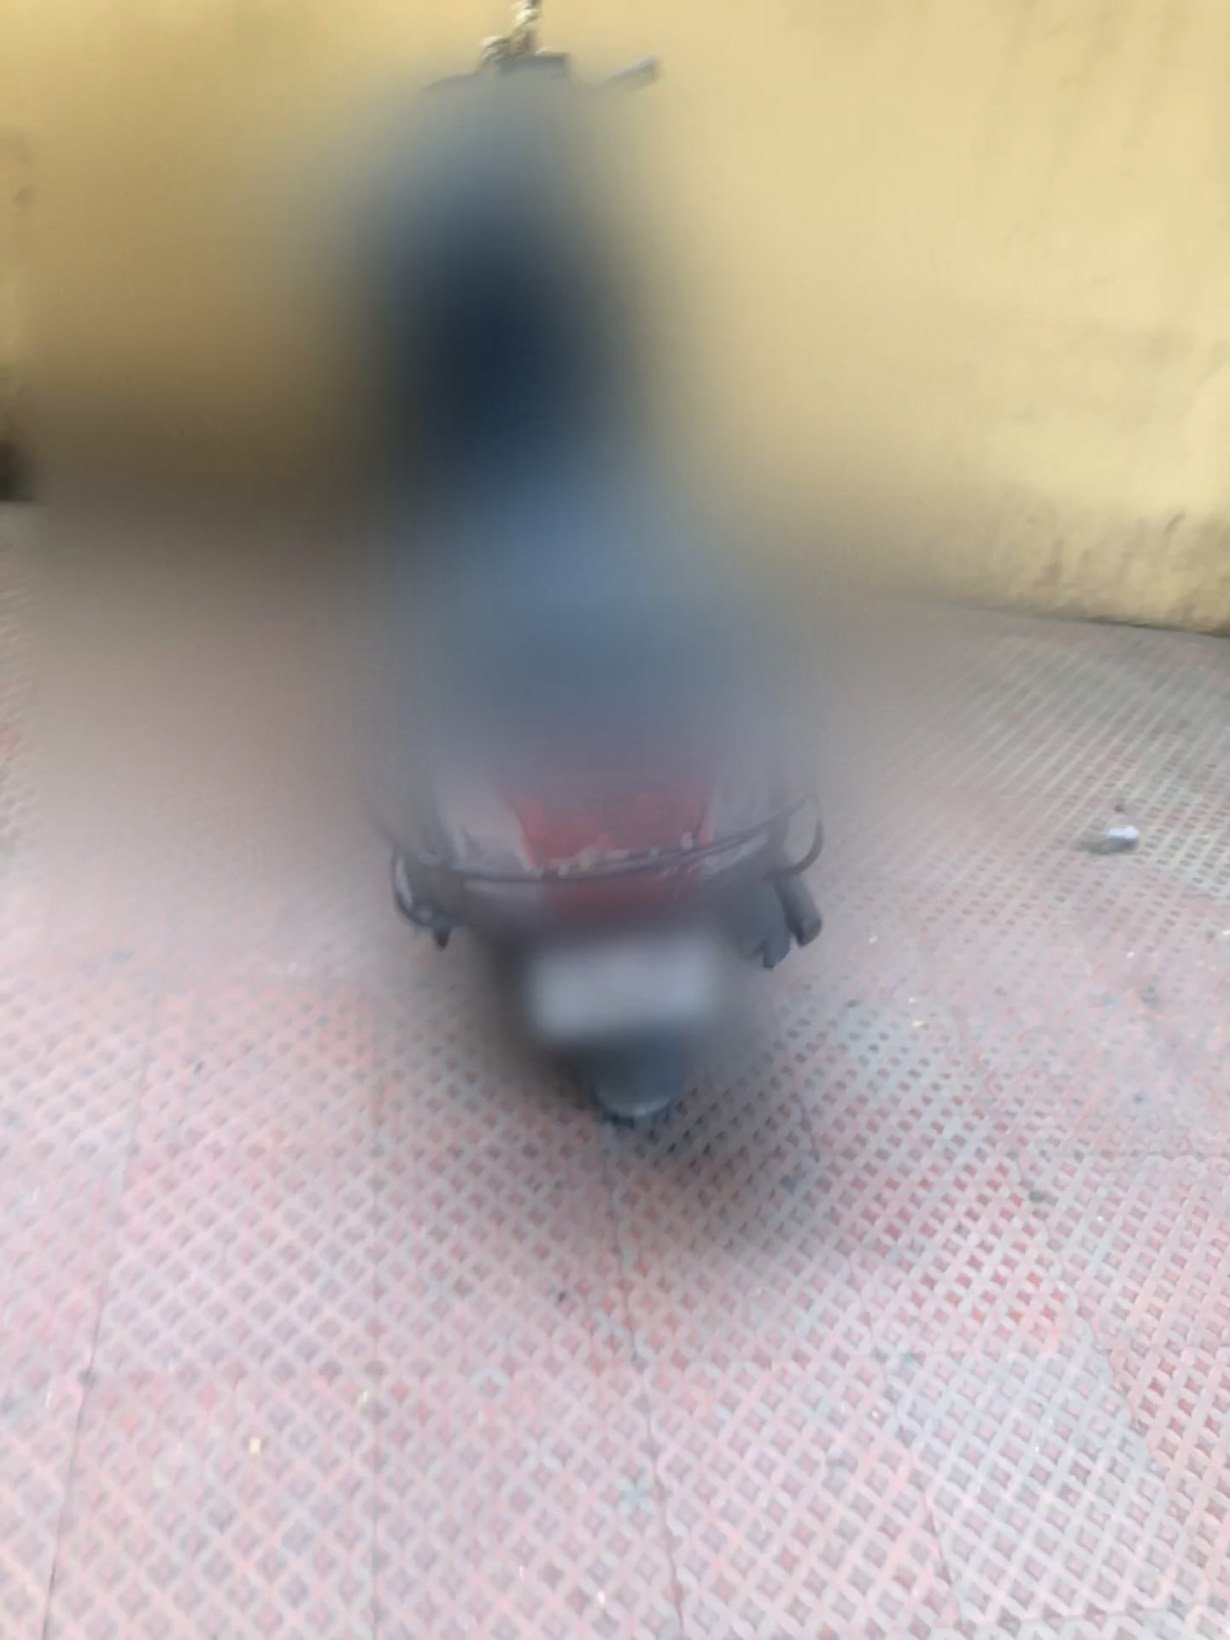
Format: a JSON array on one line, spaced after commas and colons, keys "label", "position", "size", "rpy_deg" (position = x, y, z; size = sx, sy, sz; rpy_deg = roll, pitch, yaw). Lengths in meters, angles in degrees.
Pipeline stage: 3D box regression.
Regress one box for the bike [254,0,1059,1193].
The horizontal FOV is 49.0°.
[{"label": "bike", "position": [-0.185, -0.470, 1.949], "size": [0.593, 1.044, 1.593], "rpy_deg": [0, 38, -17]}]
